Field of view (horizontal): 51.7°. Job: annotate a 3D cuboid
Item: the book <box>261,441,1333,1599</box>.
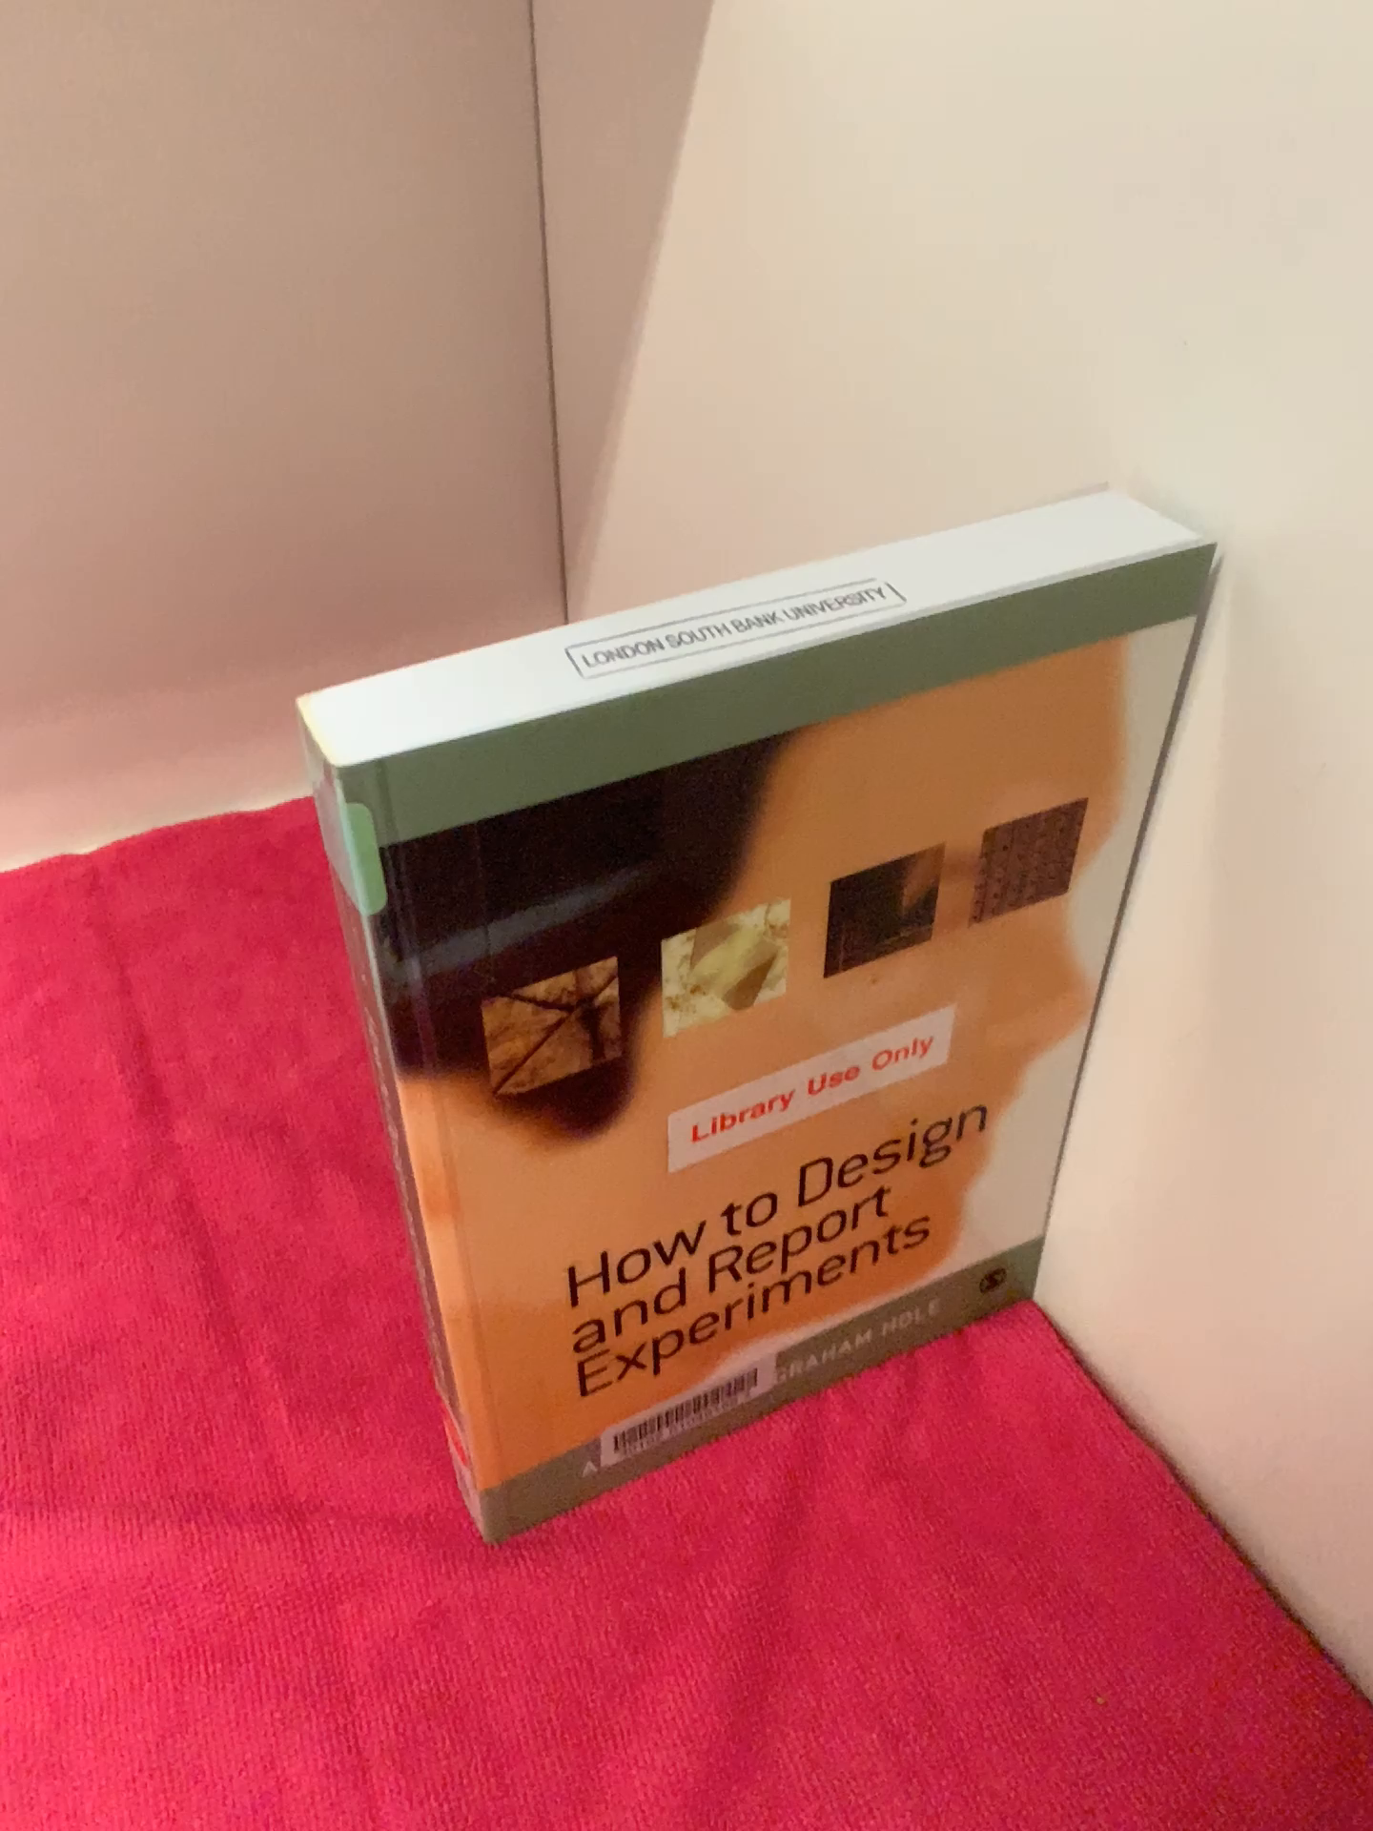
[{"bbox_3d":[0.026,0.036,0.323,0.190,0.248,0.040,-17,42,-20],"label":"book"}]
